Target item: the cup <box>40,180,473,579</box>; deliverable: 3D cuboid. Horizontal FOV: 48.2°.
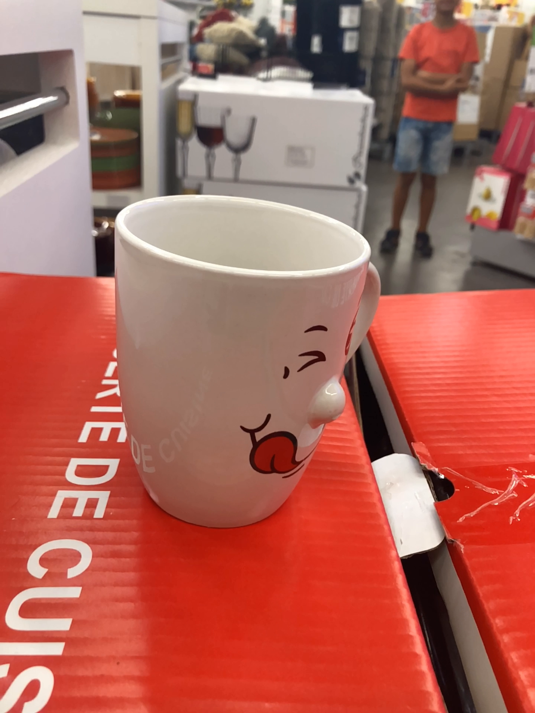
[{"bbox_3d":[-0.002,-0.007,0.231,0.092,0.092,0.124,27,34,36],"label":"cup"}]
